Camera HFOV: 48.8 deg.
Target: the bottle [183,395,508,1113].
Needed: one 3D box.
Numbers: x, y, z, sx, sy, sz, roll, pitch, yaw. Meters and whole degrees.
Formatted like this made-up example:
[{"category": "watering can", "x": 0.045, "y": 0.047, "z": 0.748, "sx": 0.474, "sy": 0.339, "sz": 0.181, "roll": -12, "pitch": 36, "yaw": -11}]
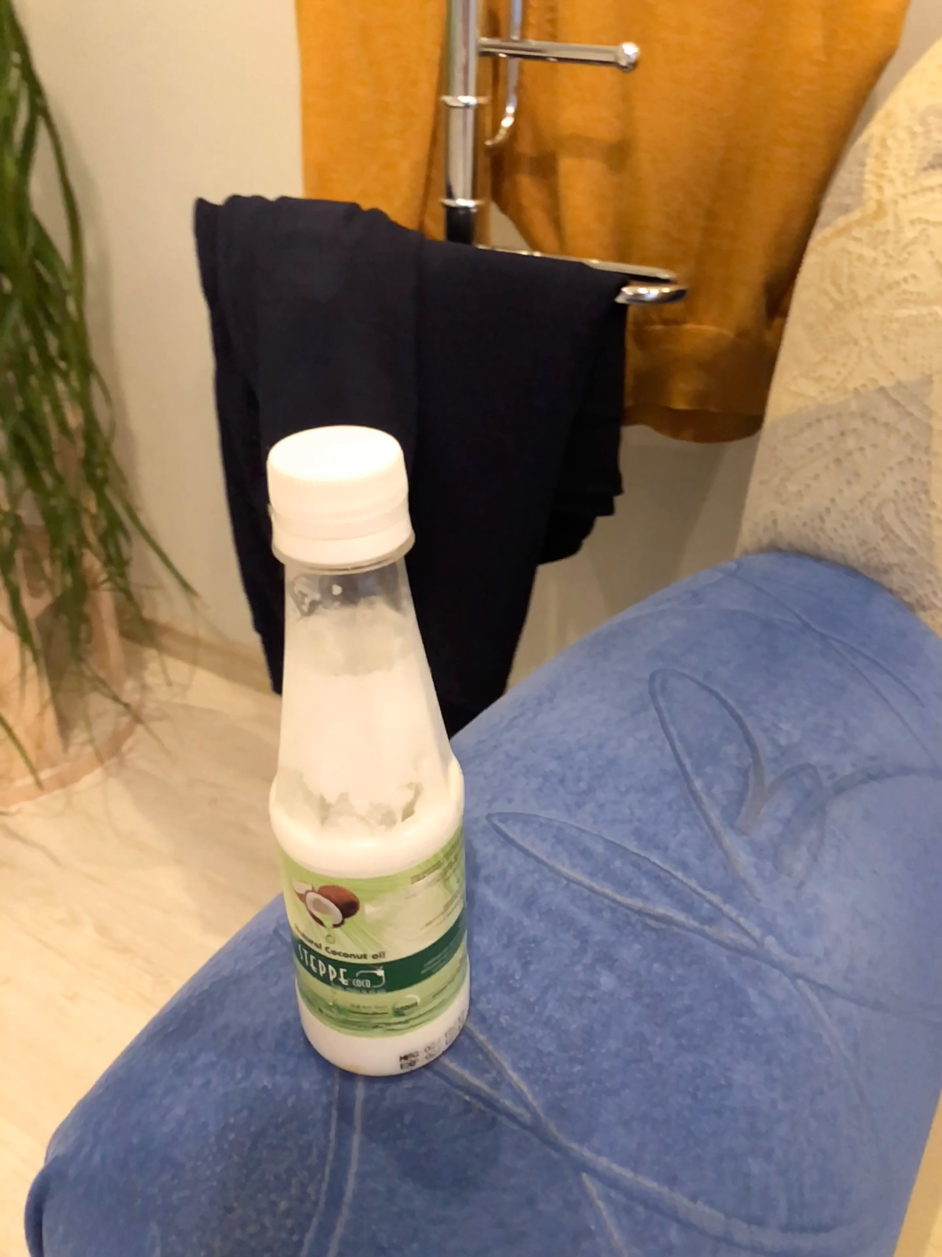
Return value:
[{"category": "bottle", "x": -0.025, "y": 0.039, "z": 0.274, "sx": 0.050, "sy": 0.183, "sz": 0.054, "roll": 0, "pitch": 31, "yaw": 0}]
